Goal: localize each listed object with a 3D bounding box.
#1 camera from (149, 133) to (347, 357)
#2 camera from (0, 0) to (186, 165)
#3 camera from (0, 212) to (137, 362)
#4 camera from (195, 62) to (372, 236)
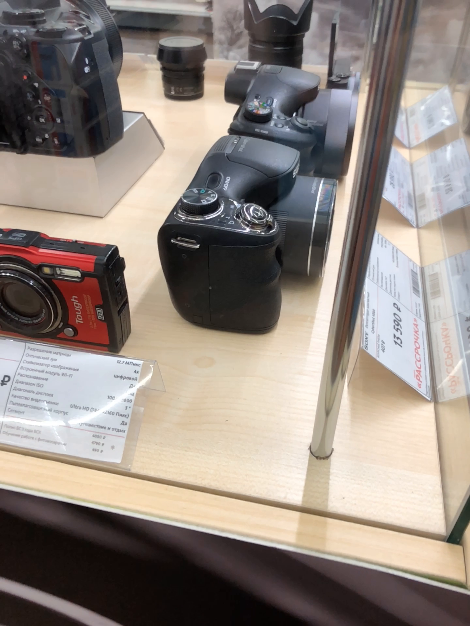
[{"bbox_3d":[0.015,-0.050,0.331,0.091,0.078,0.124,9,39,10],"label":"camera"},{"bbox_3d":[-0.125,-0.198,0.382,0.132,0.106,0.169,8,39,9],"label":"camera"},{"bbox_3d":[-0.116,-0.014,0.292,0.111,0.069,0.026,7,39,9],"label":"camera"},{"bbox_3d":[0.045,-0.148,0.454,0.125,0.097,0.124,9,39,10],"label":"camera"}]
